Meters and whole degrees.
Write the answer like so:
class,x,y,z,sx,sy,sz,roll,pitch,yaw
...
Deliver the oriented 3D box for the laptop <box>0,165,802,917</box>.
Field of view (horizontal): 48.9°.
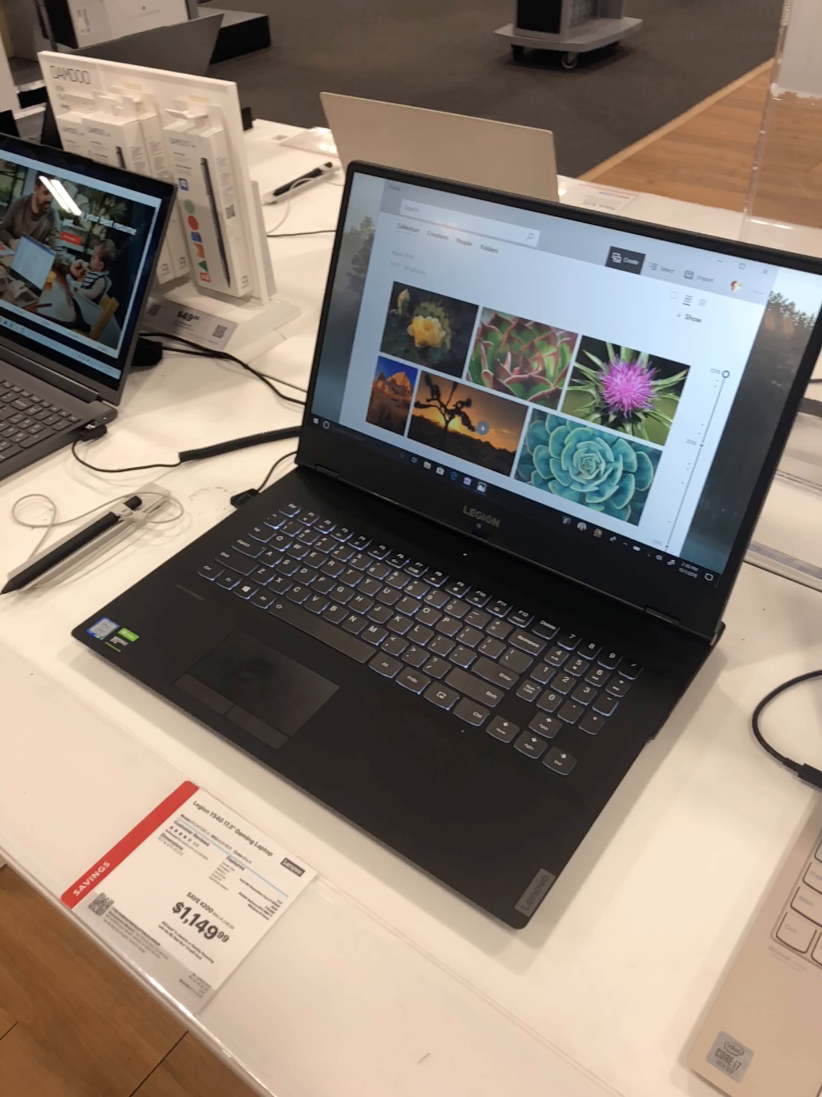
class,x,y,z,sx,sy,sz,roll,pitch,yaw
laptop,-0.005,-0.055,0.626,0.383,0.241,0.358,25,47,27
